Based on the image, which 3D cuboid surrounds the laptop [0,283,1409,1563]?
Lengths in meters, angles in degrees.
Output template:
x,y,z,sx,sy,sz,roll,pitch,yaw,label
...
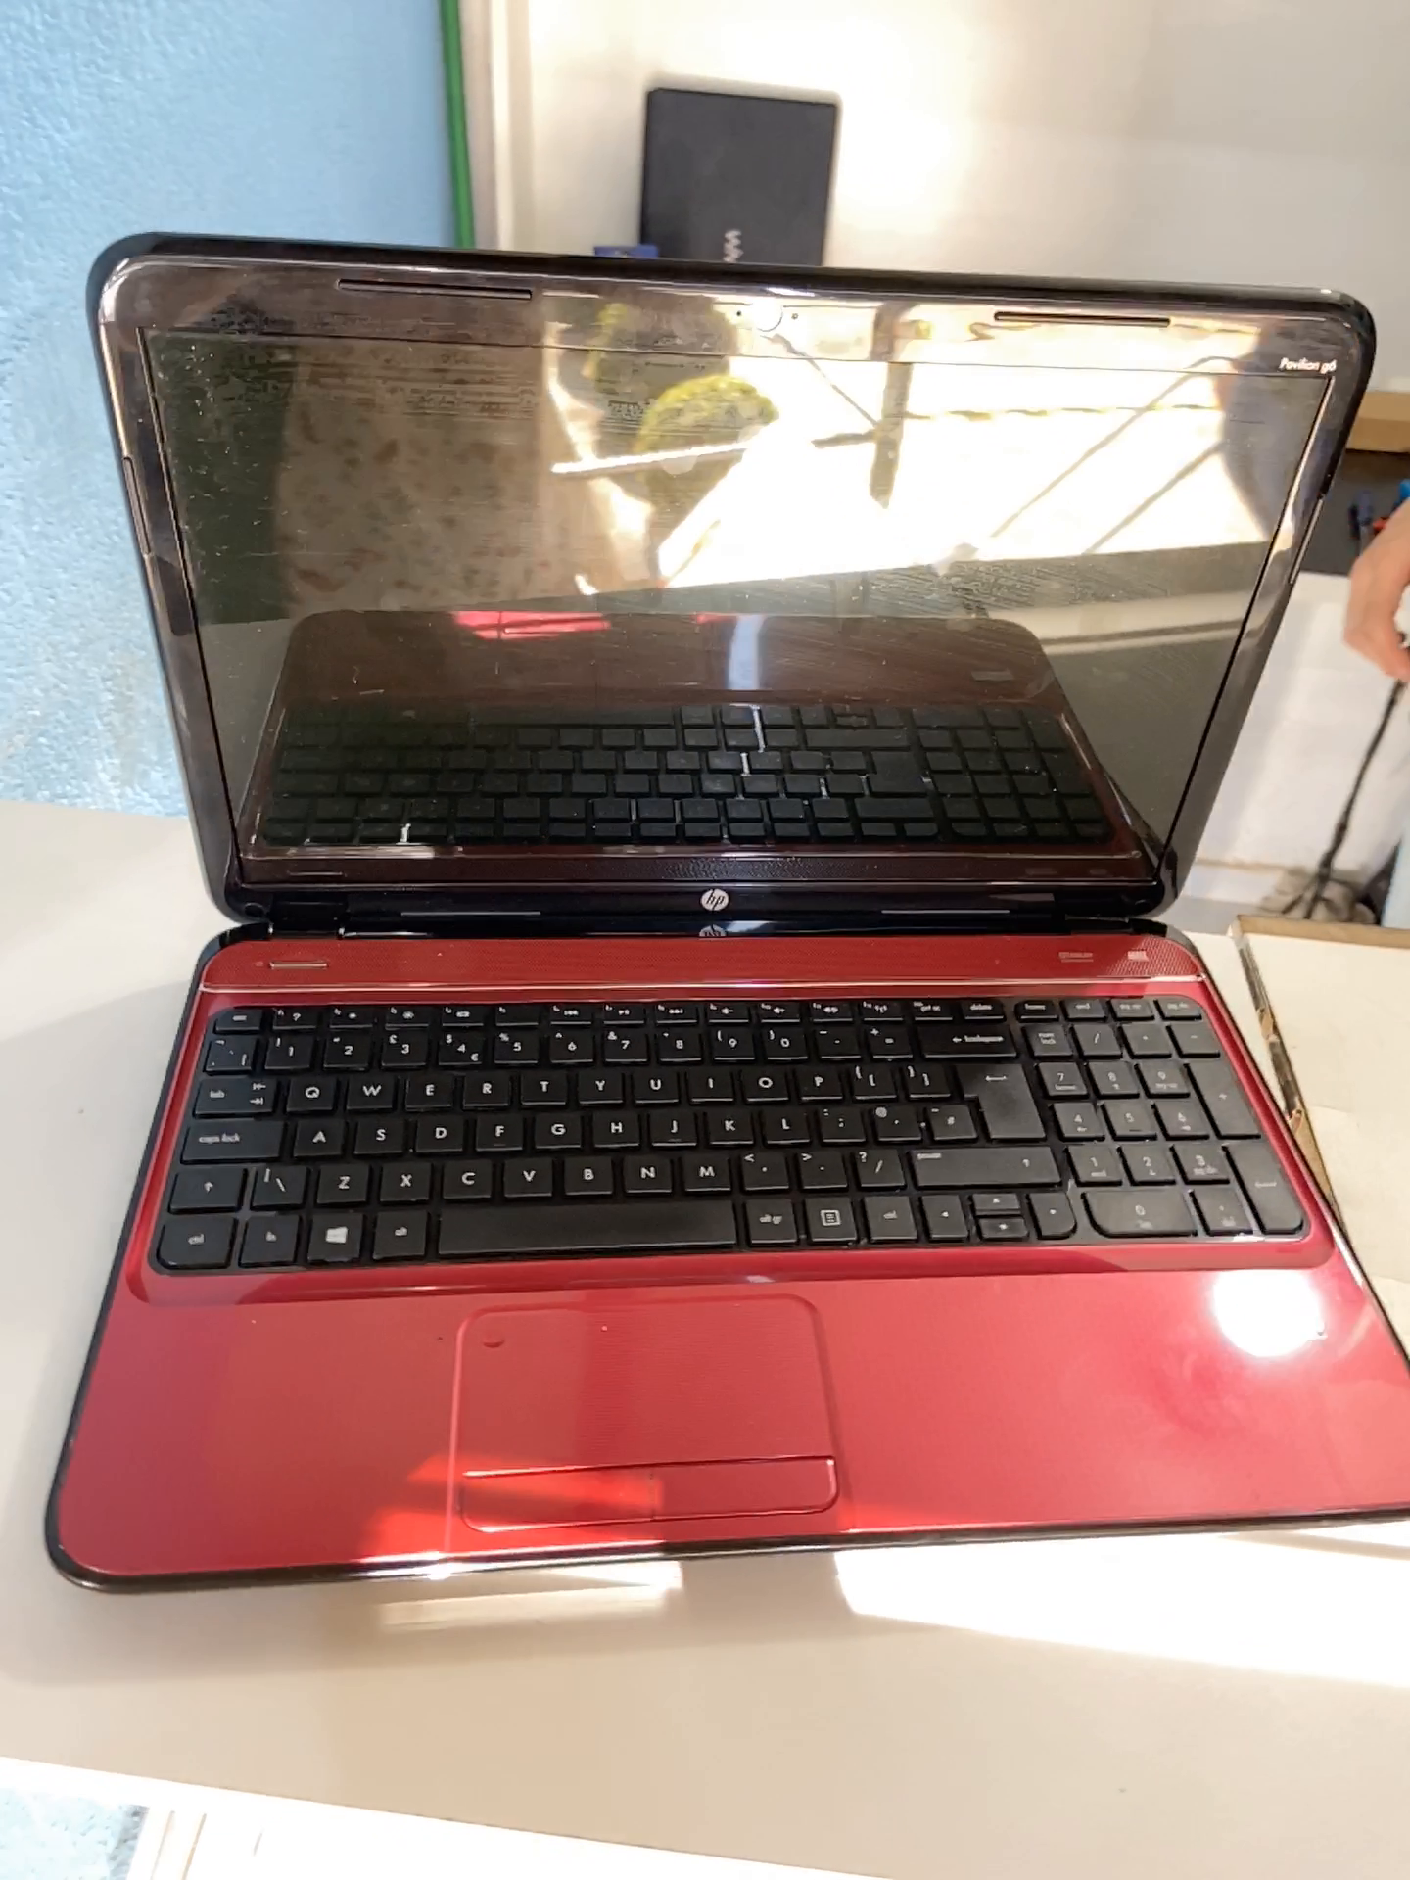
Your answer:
x,y,z,sx,sy,sz,roll,pitch,yaw,label
0.015,-0.014,0.376,0.356,0.220,0.228,-1,39,-5,laptop
